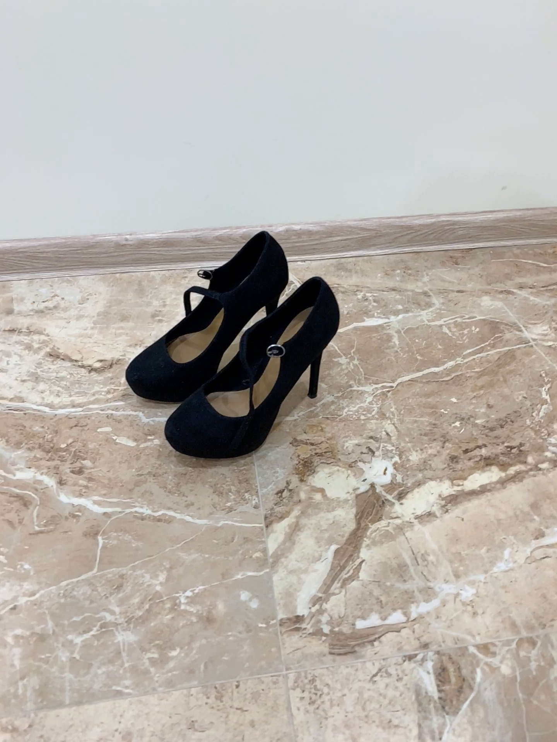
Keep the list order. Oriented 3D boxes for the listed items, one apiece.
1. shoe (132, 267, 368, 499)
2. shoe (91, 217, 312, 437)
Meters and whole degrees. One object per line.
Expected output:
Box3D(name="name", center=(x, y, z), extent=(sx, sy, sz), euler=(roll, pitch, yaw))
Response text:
Box3D(name="shoe", center=(-0.025, 0.010, 0.589), extent=(0.210, 0.159, 0.080), euler=(-24, 51, -24))
Box3D(name="shoe", center=(-0.078, -0.052, 0.647), extent=(0.210, 0.169, 0.090), euler=(-24, 51, -24))
